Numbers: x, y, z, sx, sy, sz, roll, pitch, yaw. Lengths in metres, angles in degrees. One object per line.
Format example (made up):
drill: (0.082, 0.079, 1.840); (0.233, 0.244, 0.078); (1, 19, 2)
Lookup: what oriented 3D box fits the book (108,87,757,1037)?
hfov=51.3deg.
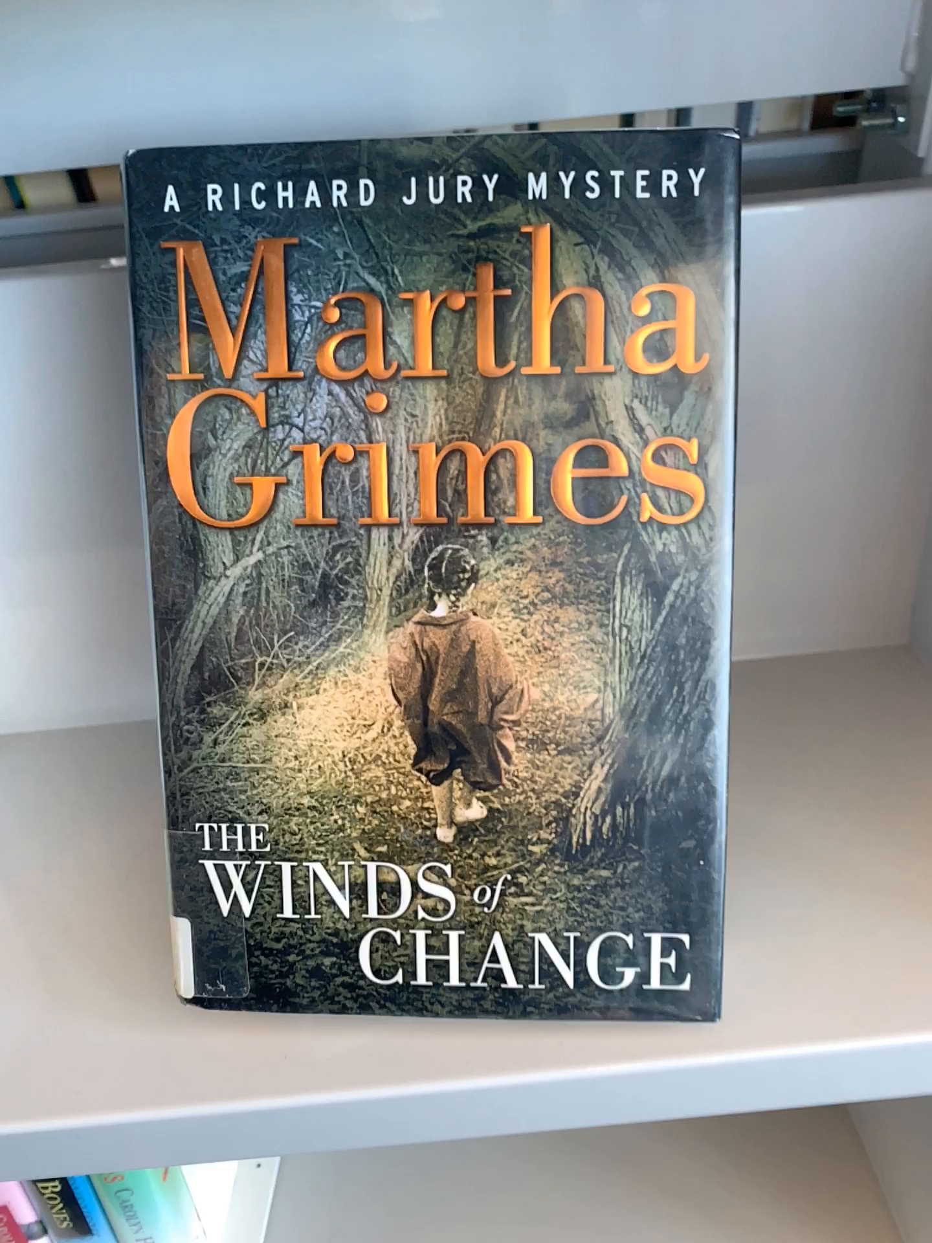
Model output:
book: (-0.005, -0.009, 0.281); (0.160, 0.244, 0.050); (-1, 9, 6)
